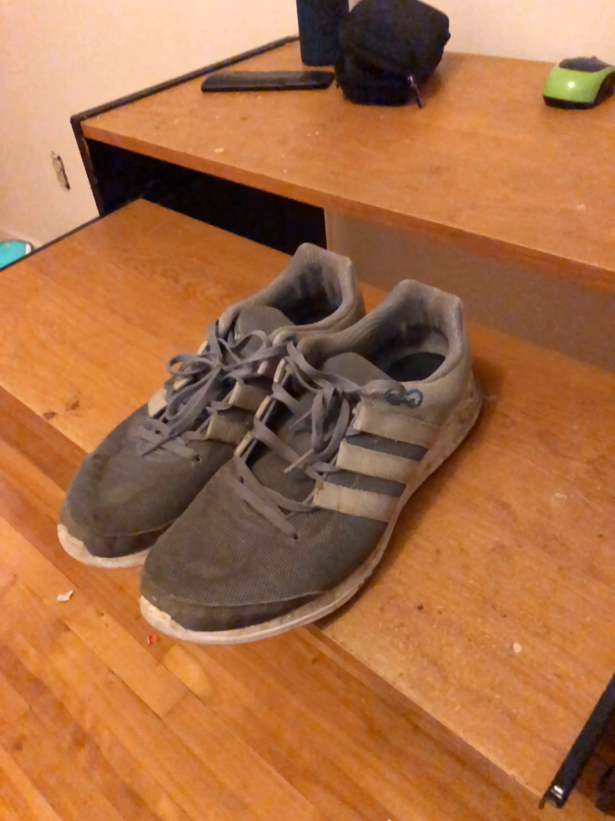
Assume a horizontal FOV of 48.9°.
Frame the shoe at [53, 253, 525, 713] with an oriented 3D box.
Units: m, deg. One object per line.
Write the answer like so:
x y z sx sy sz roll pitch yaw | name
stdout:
0.008 0.018 0.409 0.120 0.089 0.271 25 50 31 | shoe

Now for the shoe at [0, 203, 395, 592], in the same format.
-0.067 -0.033 0.474 0.110 0.089 0.301 24 50 31 | shoe
